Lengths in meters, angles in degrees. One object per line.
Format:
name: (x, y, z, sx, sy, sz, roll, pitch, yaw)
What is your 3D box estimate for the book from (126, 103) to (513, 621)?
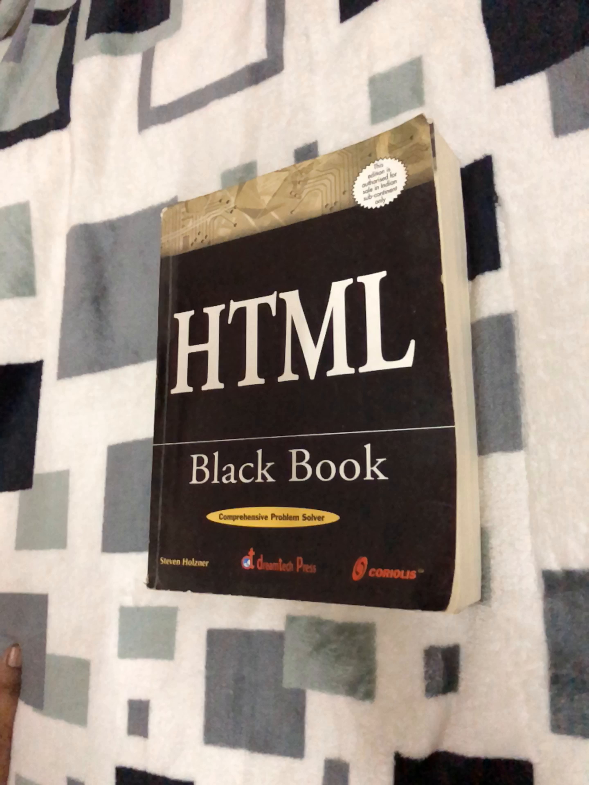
book: (0.007, -0.006, 0.359, 0.191, 0.070, 0.230, -7, 76, 32)
